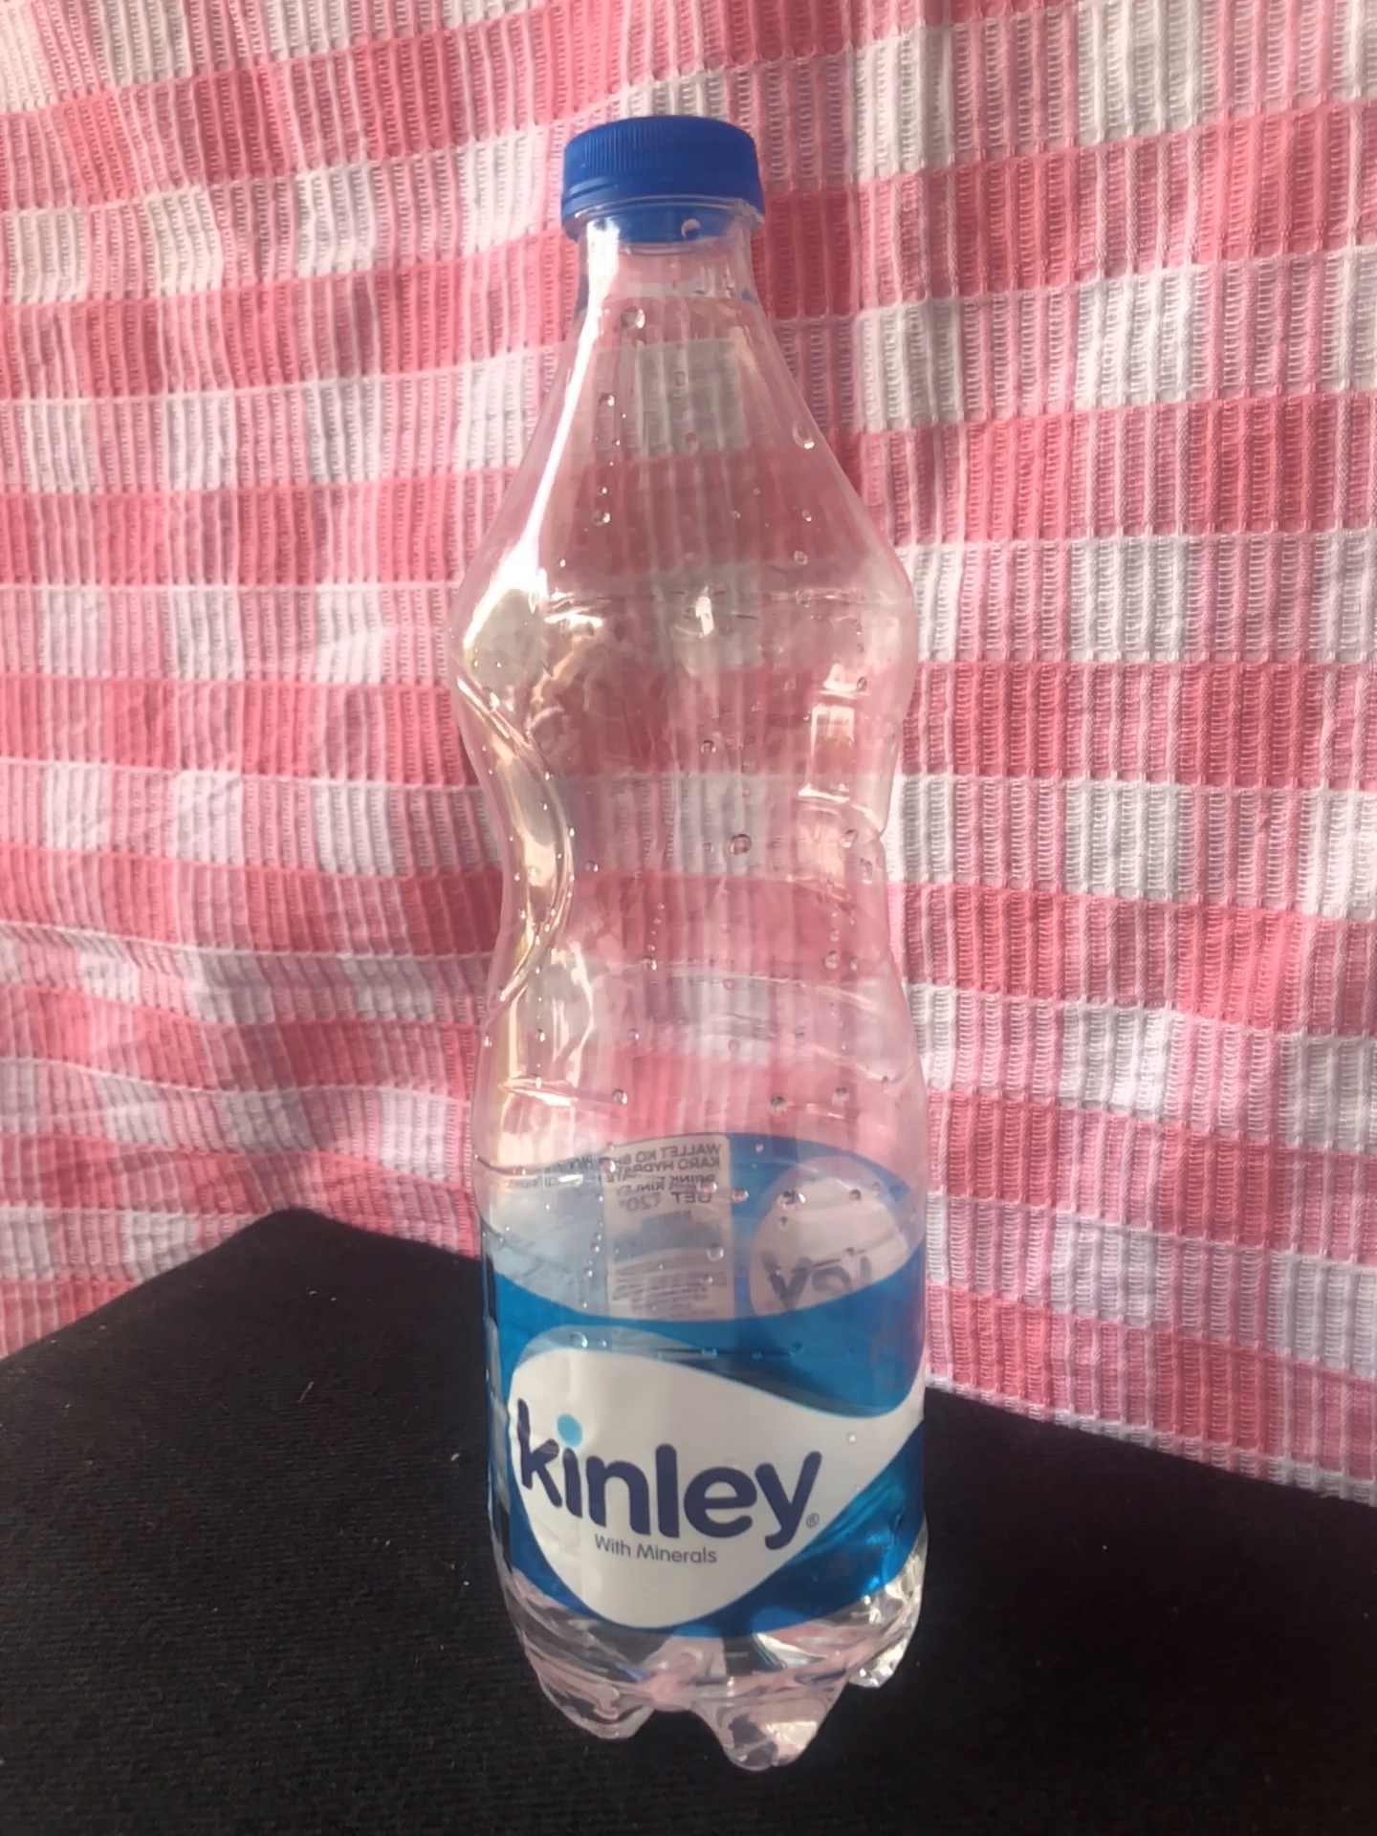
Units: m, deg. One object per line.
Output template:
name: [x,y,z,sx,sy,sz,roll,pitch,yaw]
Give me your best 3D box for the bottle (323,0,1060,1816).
bottle: [0.007,0.002,0.253,0.090,0.259,0.080,3,15,12]
